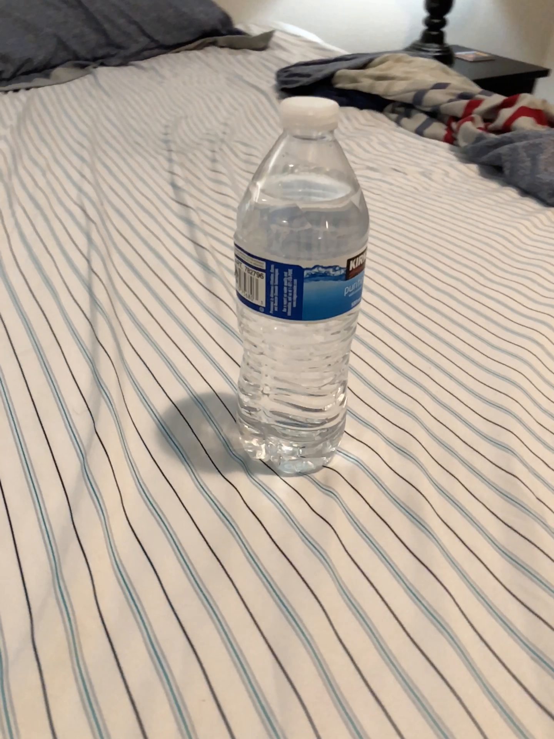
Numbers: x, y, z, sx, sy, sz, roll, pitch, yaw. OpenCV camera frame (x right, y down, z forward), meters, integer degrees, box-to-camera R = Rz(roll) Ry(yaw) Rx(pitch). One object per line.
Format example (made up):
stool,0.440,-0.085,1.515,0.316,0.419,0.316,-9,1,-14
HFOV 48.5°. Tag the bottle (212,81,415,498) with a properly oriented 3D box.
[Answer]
bottle,0.014,-0.034,0.327,0.070,0.199,0.070,2,38,-2
